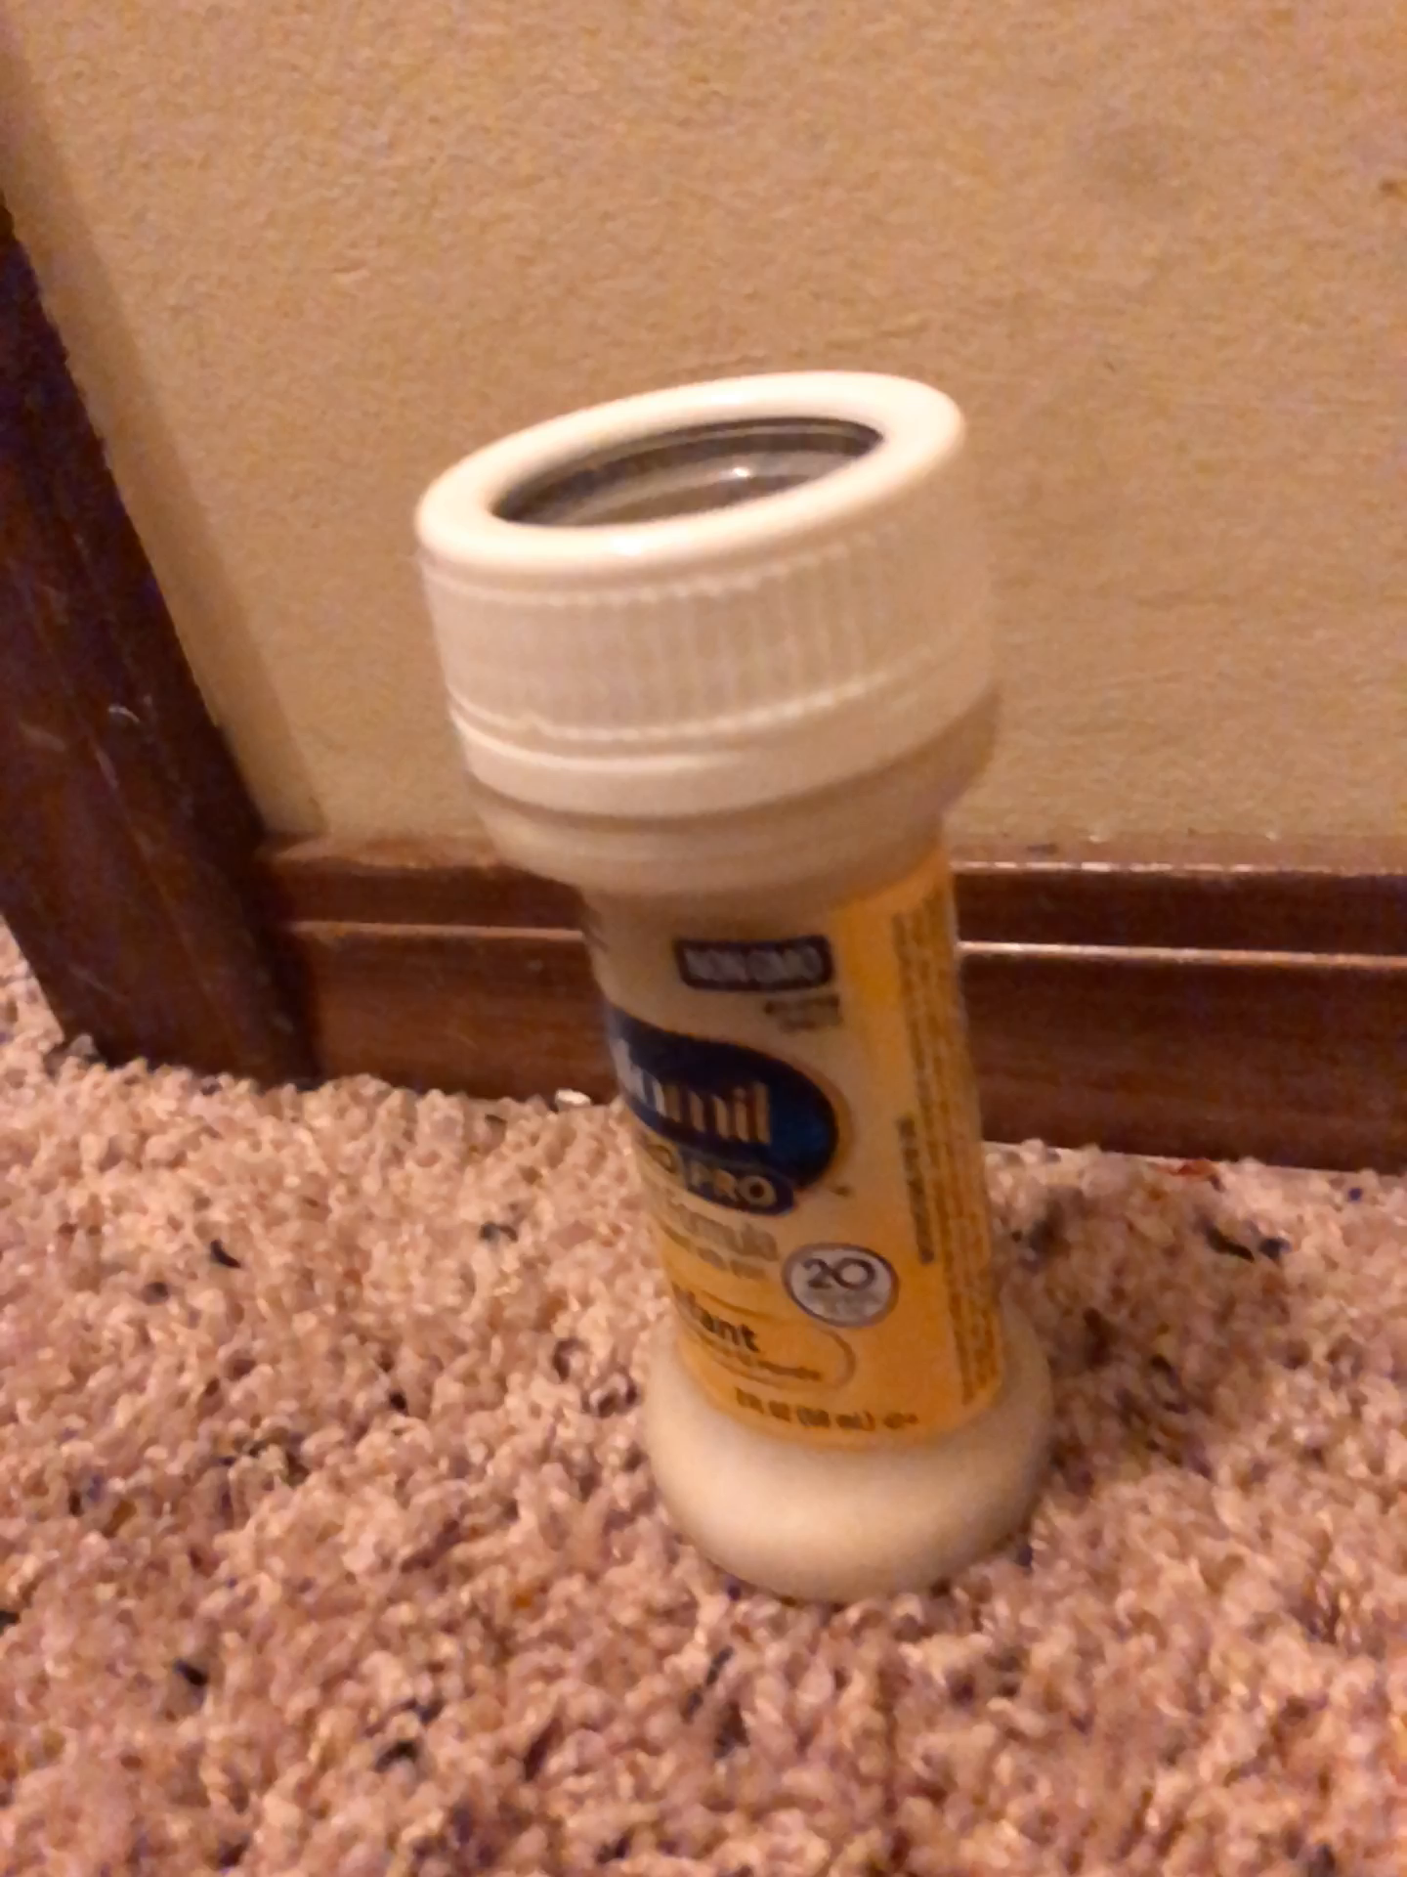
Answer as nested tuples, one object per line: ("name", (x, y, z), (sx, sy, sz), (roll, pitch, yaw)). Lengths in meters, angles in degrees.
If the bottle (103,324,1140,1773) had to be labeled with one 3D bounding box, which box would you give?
("bottle", (0.000, 0.010, 0.142), (0.050, 0.110, 0.050), (-10, 32, 6))
